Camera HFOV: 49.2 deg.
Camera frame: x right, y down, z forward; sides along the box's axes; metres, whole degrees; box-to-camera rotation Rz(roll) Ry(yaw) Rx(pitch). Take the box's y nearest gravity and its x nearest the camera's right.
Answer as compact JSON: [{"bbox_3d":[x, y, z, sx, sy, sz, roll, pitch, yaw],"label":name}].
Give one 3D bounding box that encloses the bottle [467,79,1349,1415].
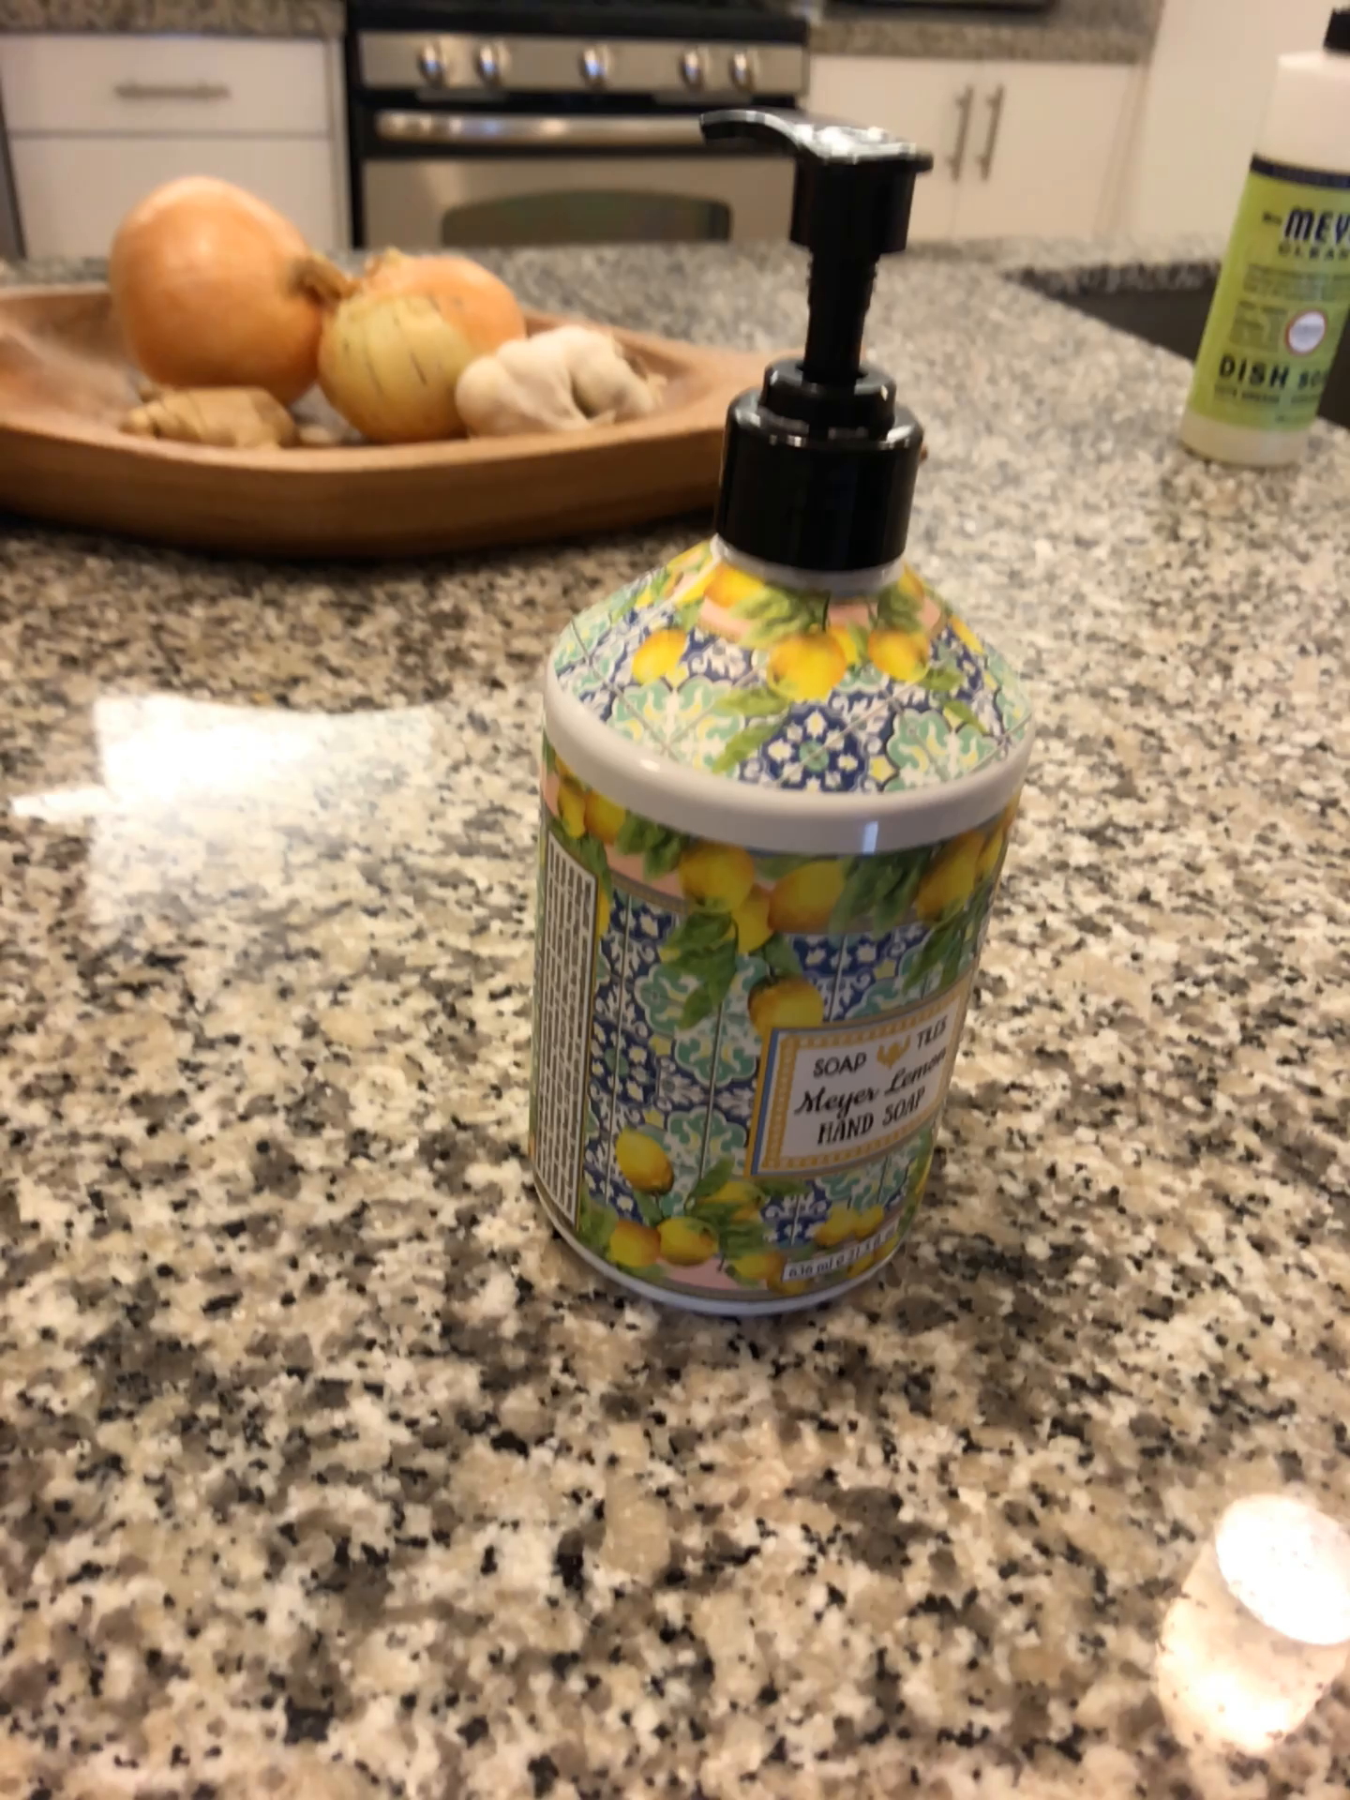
[{"bbox_3d":[0.023,-0.023,0.258,0.090,0.199,0.090,4,35,-3],"label":"bottle"}]
